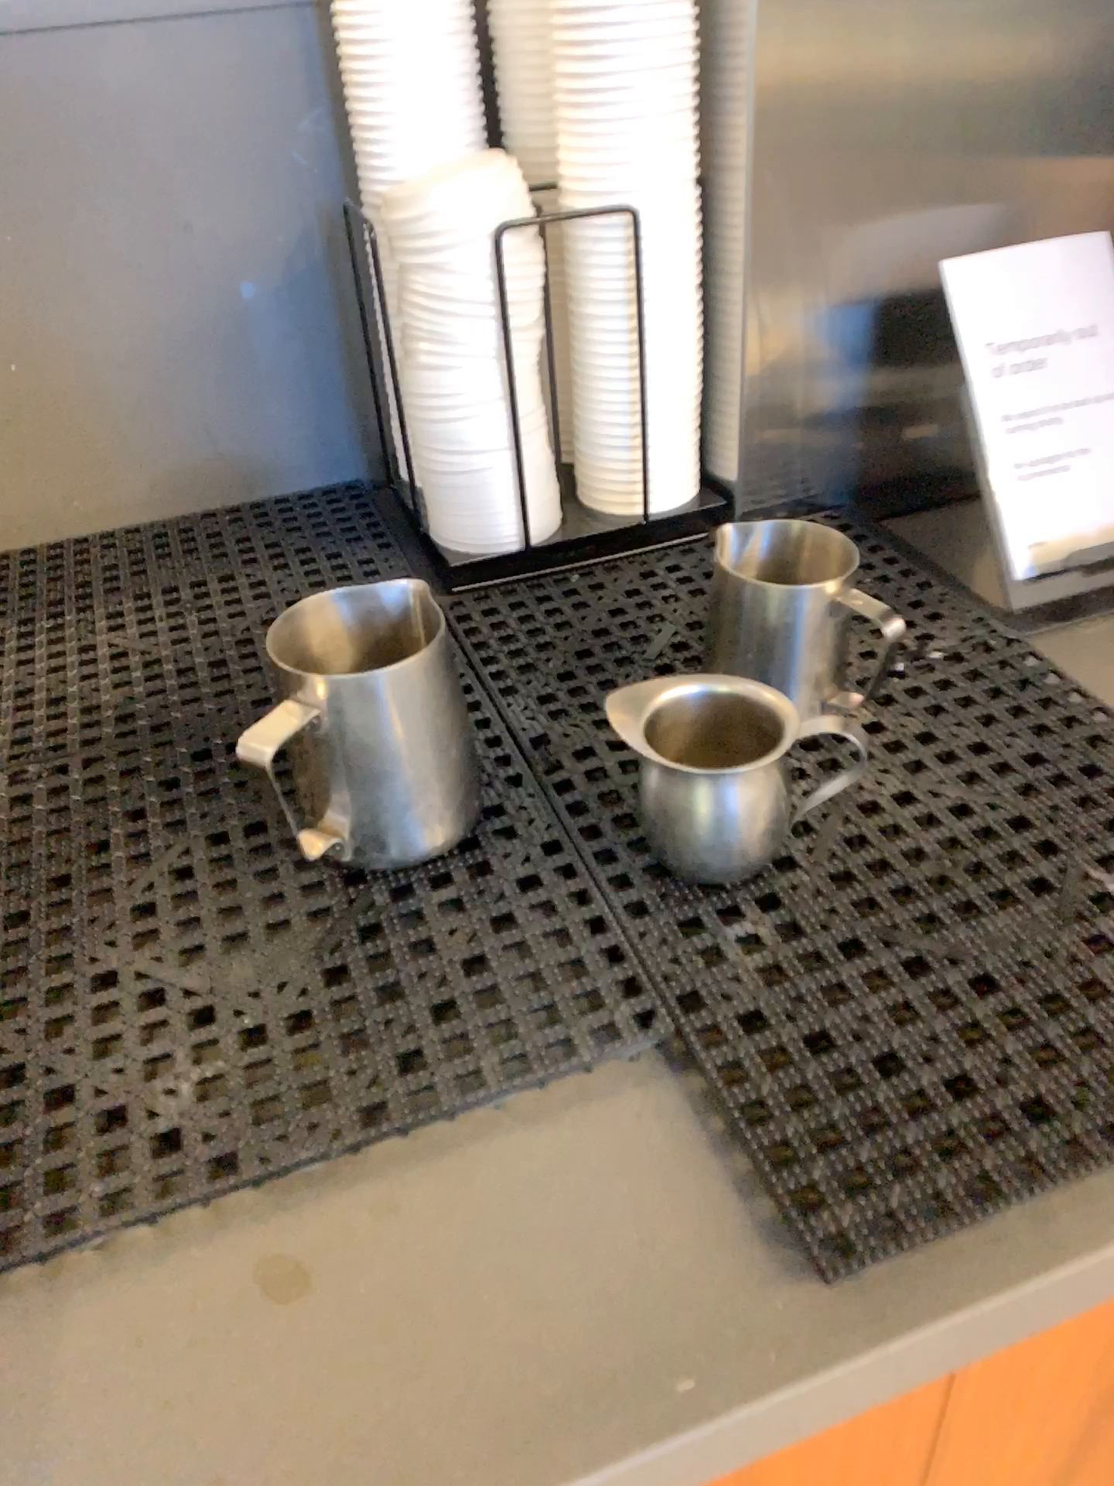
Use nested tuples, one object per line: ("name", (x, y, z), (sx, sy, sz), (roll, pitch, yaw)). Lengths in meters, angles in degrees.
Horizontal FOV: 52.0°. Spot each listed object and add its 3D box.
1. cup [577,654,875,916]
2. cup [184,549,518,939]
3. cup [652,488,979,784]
("cup", (0.072, 0.015, 0.480), (0.110, 0.070, 0.070), (6, 37, 14))
("cup", (-0.081, -0.004, 0.499), (0.070, 0.109, 0.120), (14, 40, 24))
("cup", (0.121, -0.058, 0.563), (0.080, 0.079, 0.131), (-28, 42, -29))
